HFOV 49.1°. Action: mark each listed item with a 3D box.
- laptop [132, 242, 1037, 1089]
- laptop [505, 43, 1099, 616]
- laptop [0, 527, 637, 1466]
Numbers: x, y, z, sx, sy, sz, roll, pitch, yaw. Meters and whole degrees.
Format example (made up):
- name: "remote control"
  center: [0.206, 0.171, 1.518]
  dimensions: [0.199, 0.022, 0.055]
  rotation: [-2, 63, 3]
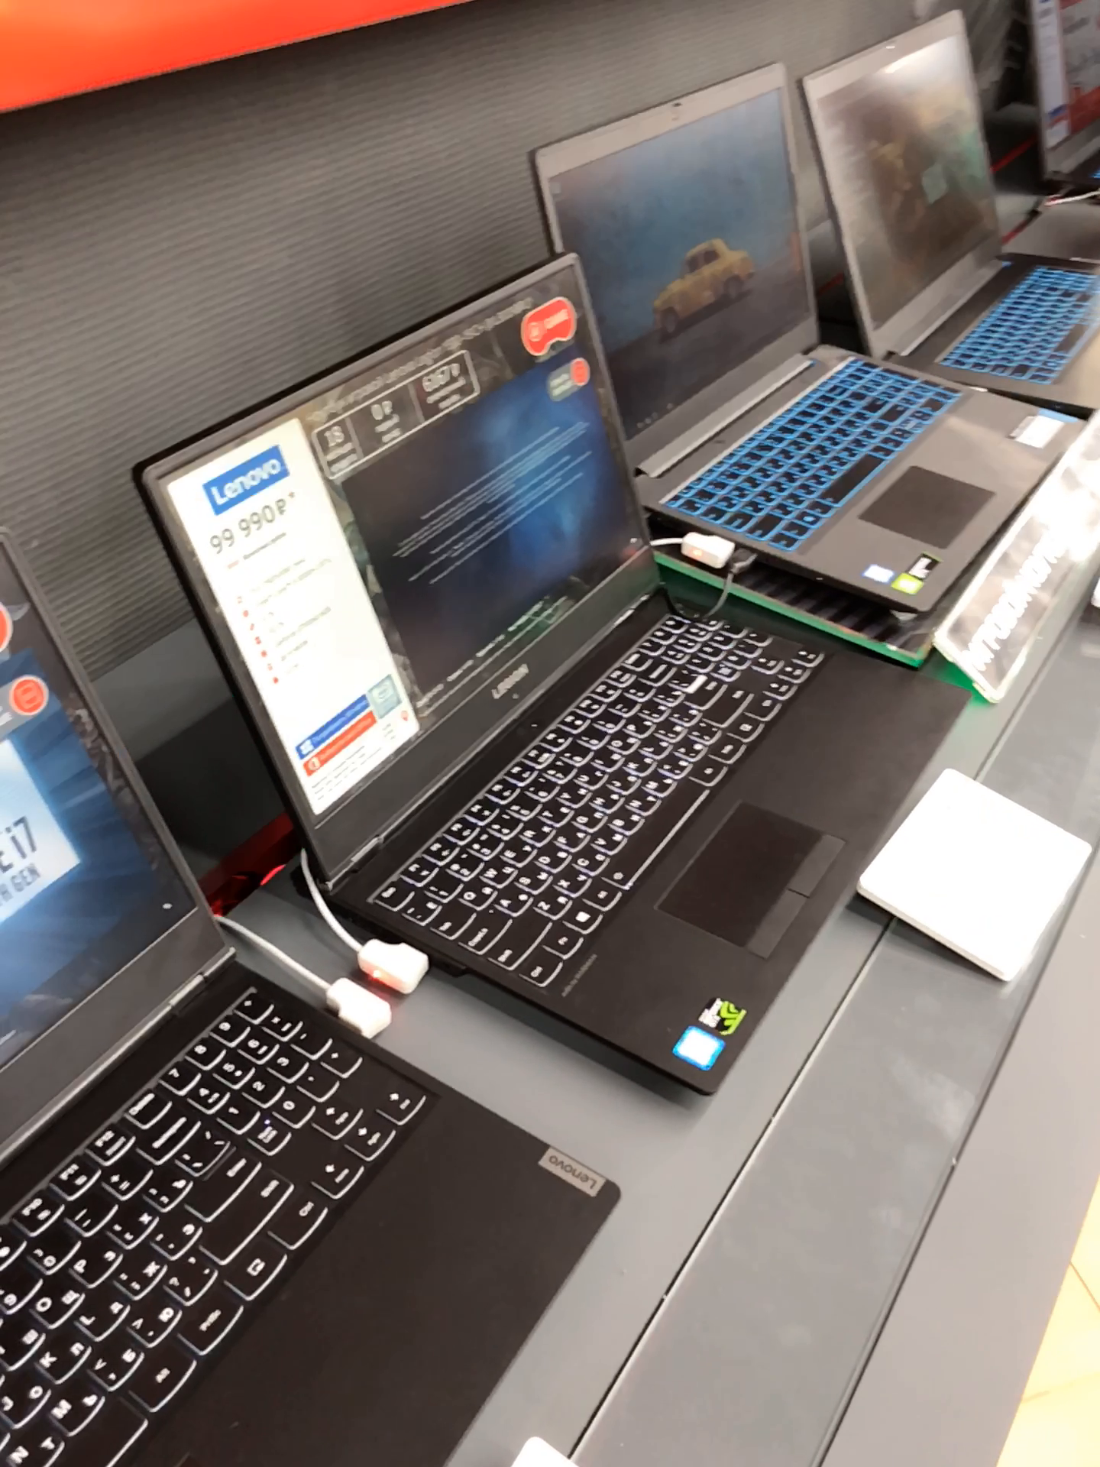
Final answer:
- name: "laptop"
  center: [0.040, -0.076, 0.653]
  dimensions: [0.301, 0.225, 0.353]
  rotation: [22, 44, 27]
- name: "laptop"
  center: [0.212, -0.332, 0.908]
  dimensions: [0.334, 0.225, 0.355]
  rotation: [26, 46, 26]
- name: "laptop"
  center: [-0.199, 0.143, 0.386]
  dimensions: [0.315, 0.223, 0.354]
  rotation: [20, 43, 26]
